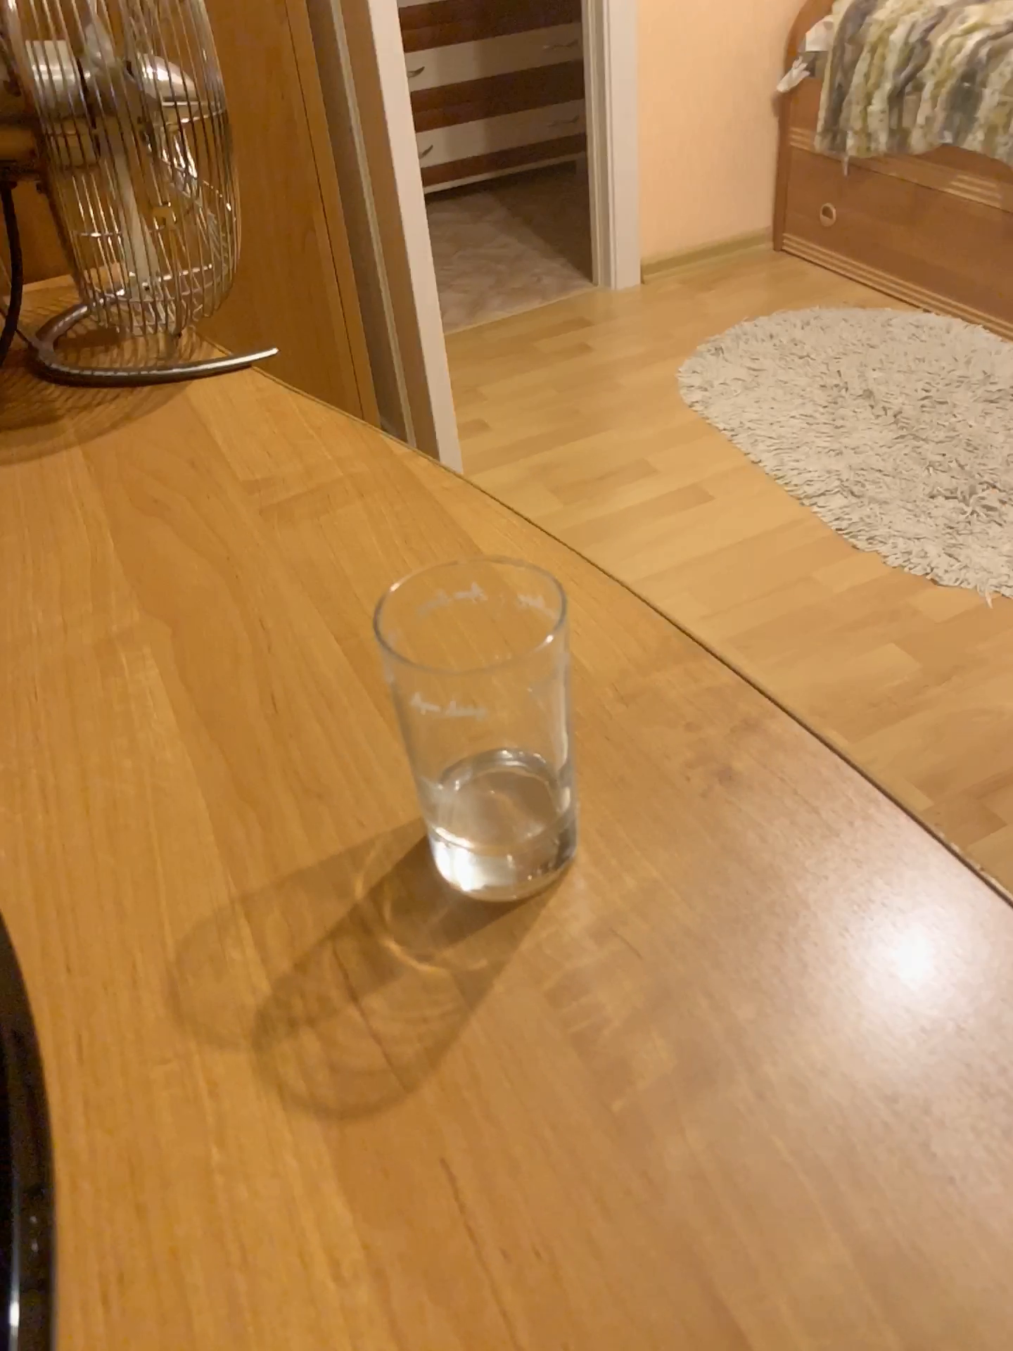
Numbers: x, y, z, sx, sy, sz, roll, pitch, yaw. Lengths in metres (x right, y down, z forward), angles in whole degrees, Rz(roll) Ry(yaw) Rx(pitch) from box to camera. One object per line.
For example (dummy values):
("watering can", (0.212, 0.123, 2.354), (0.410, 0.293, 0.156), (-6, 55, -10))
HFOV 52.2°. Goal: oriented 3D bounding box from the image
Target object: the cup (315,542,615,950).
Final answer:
("cup", (-0.007, 0.022, 0.316), (0.060, 0.099, 0.060), (-4, 40, 4))
